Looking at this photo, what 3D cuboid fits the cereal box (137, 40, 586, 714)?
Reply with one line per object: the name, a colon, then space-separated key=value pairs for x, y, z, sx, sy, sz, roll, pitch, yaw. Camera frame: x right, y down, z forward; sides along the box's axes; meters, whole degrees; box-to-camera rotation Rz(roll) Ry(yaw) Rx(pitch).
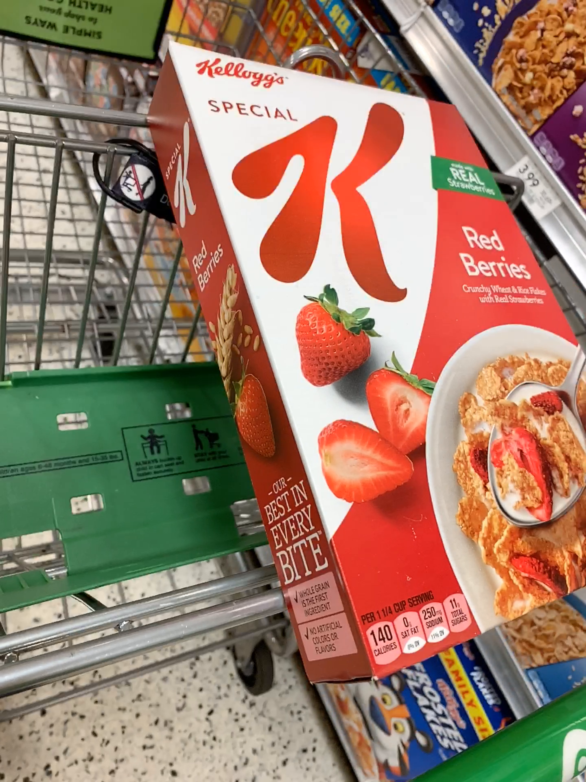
cereal box: x=0.058 y=-0.030 z=0.300 sx=0.201 sy=0.050 sz=0.281 roll=-6 pitch=67 yaw=-33
